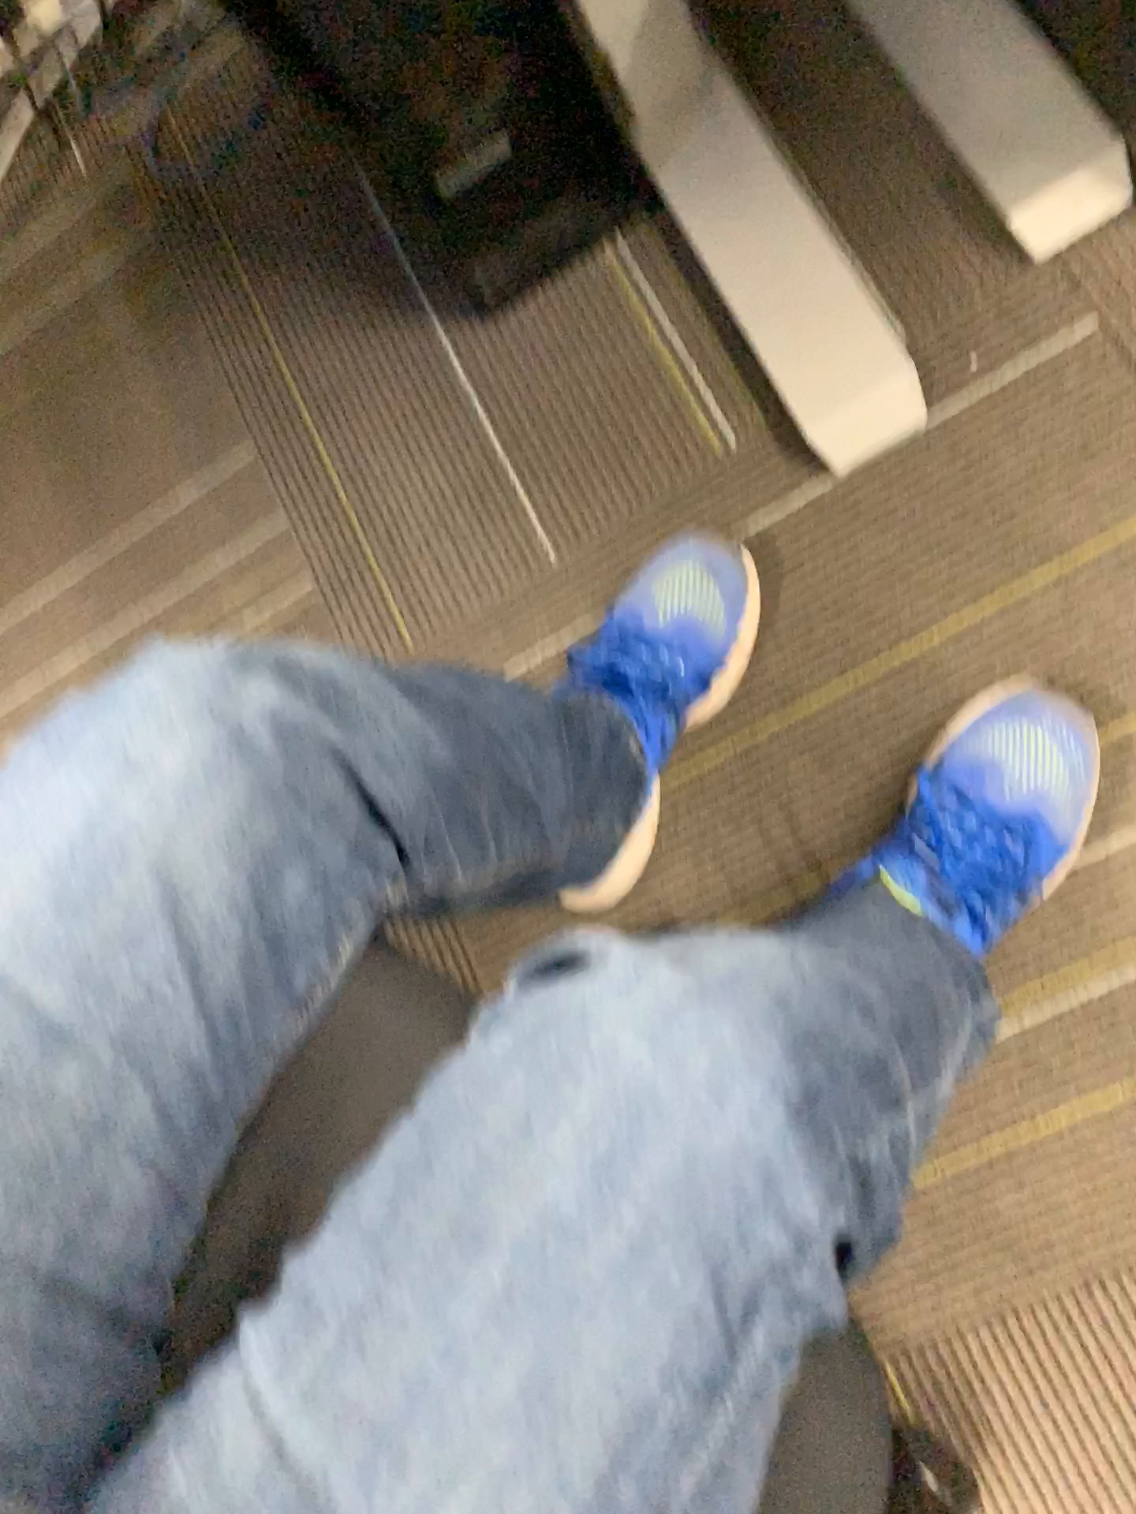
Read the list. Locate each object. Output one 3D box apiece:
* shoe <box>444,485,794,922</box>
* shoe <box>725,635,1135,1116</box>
[{"bbox_3d":[0.038,-0.034,0.825,0.116,0.083,0.278,28,93,21],"label":"shoe"},{"bbox_3d":[0.239,0.077,0.746,0.117,0.083,0.279,38,96,20],"label":"shoe"}]
